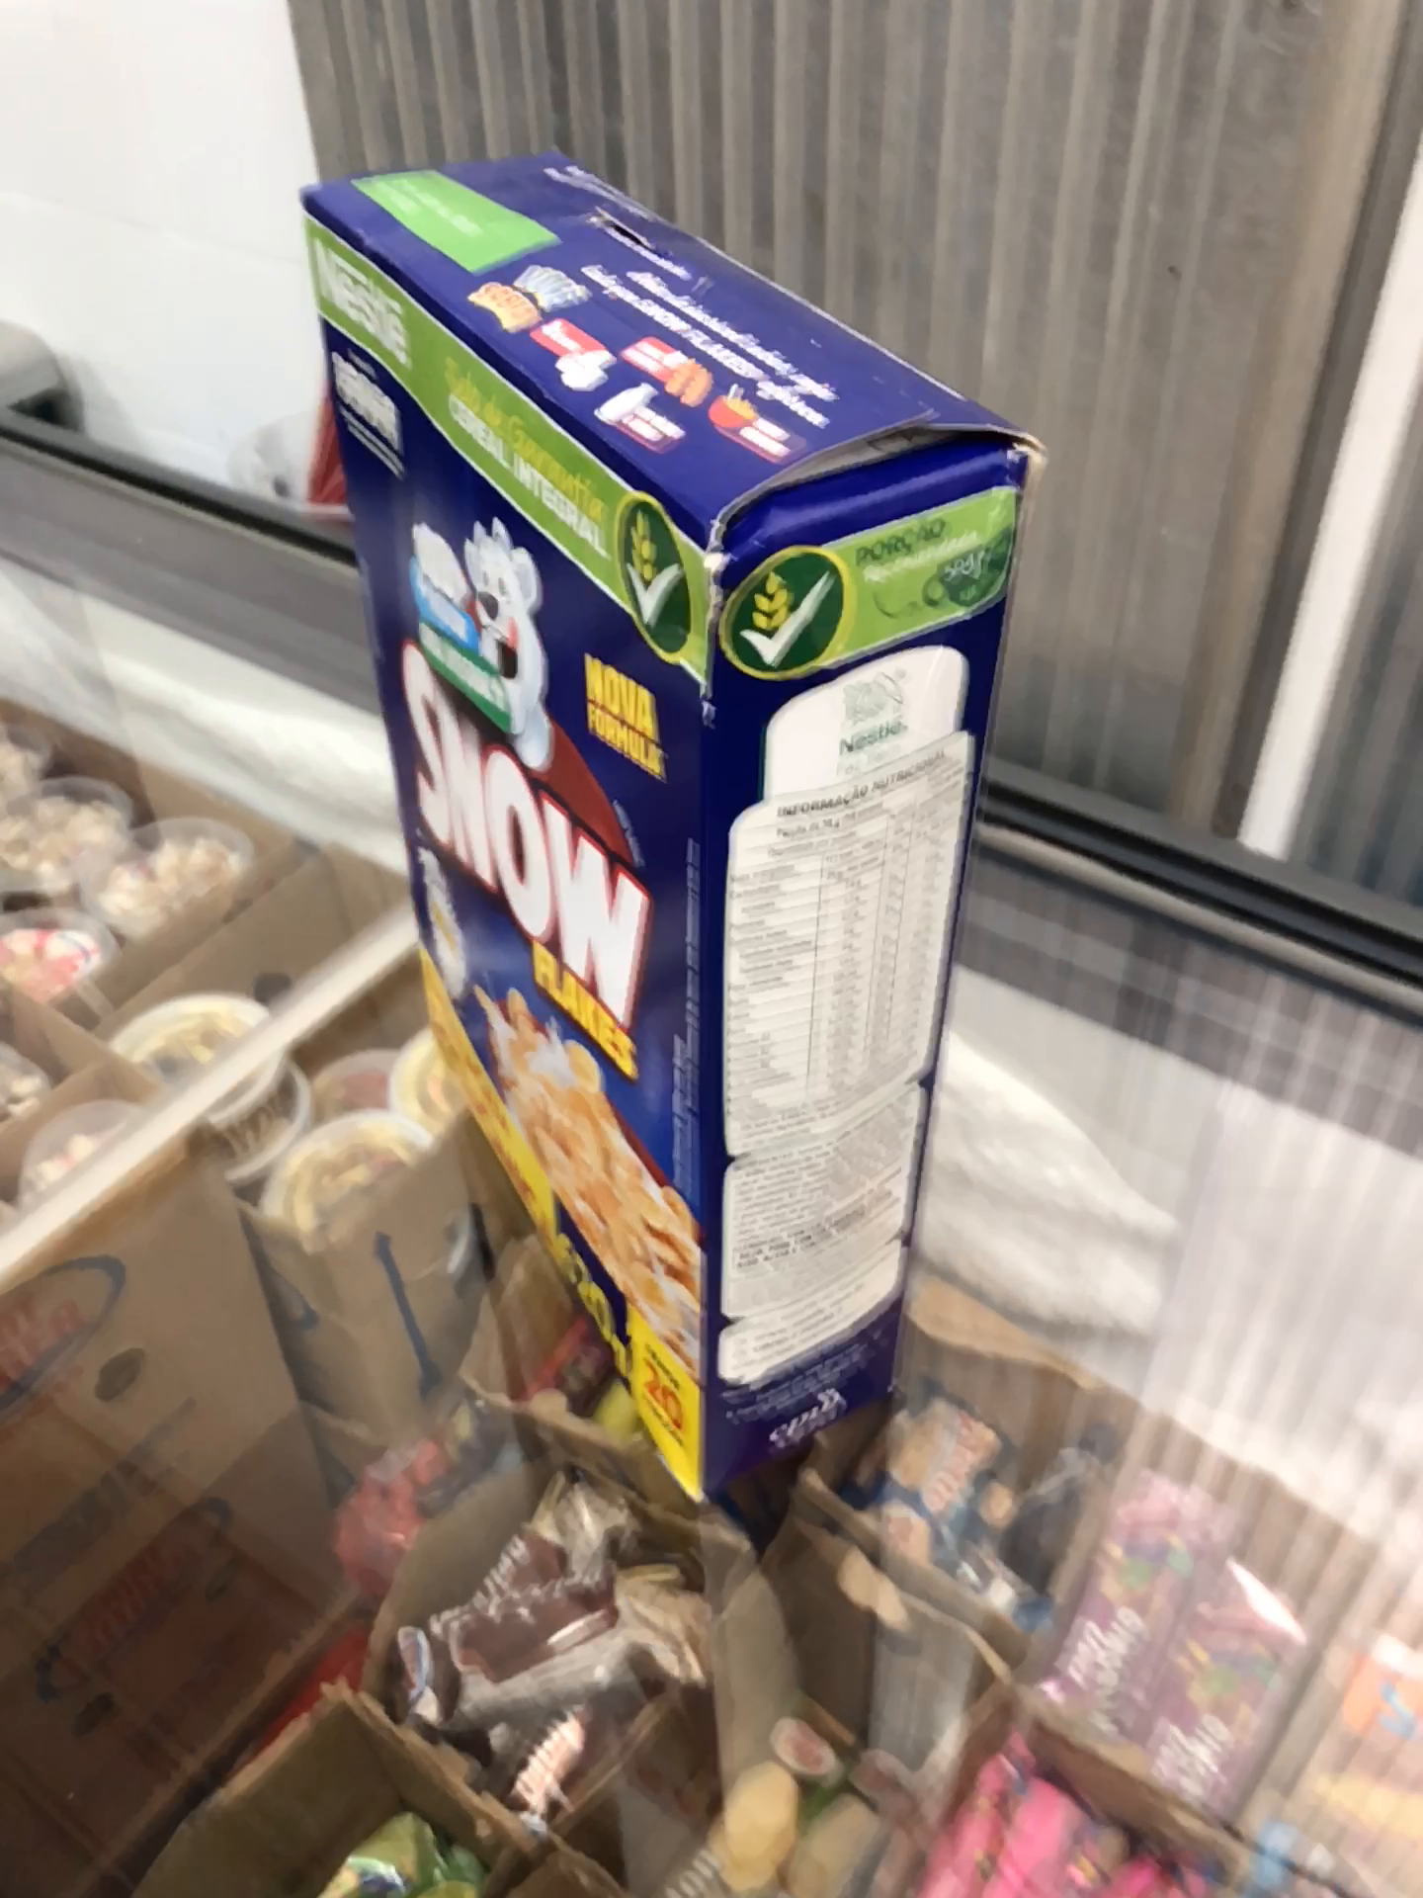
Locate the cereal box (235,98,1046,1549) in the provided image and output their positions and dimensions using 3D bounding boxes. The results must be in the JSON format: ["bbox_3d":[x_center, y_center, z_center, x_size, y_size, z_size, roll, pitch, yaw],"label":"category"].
[{"bbox_3d":[-0.028,-0.027,0.424,0.070,0.307,0.232,-20,45,-20],"label":"cereal box"}]
